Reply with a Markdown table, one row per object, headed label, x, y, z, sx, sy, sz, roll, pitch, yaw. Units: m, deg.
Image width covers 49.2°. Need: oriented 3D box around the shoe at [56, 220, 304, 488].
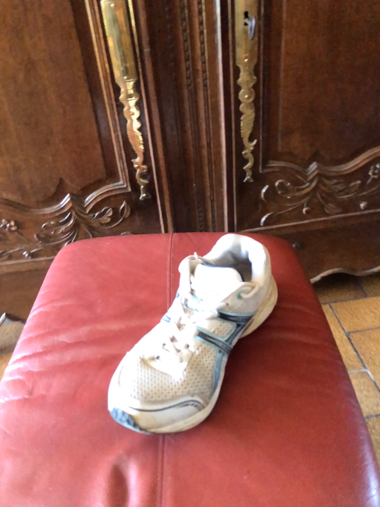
| label | x | y | z | sx | sy | sz | roll | pitch | yaw |
| --- | --- | --- | --- | --- | --- | --- | --- | --- | --- |
| shoe | 0.011 | 0.077 | 0.442 | 0.120 | 0.080 | 0.272 | 18 | 42 | 29 |
